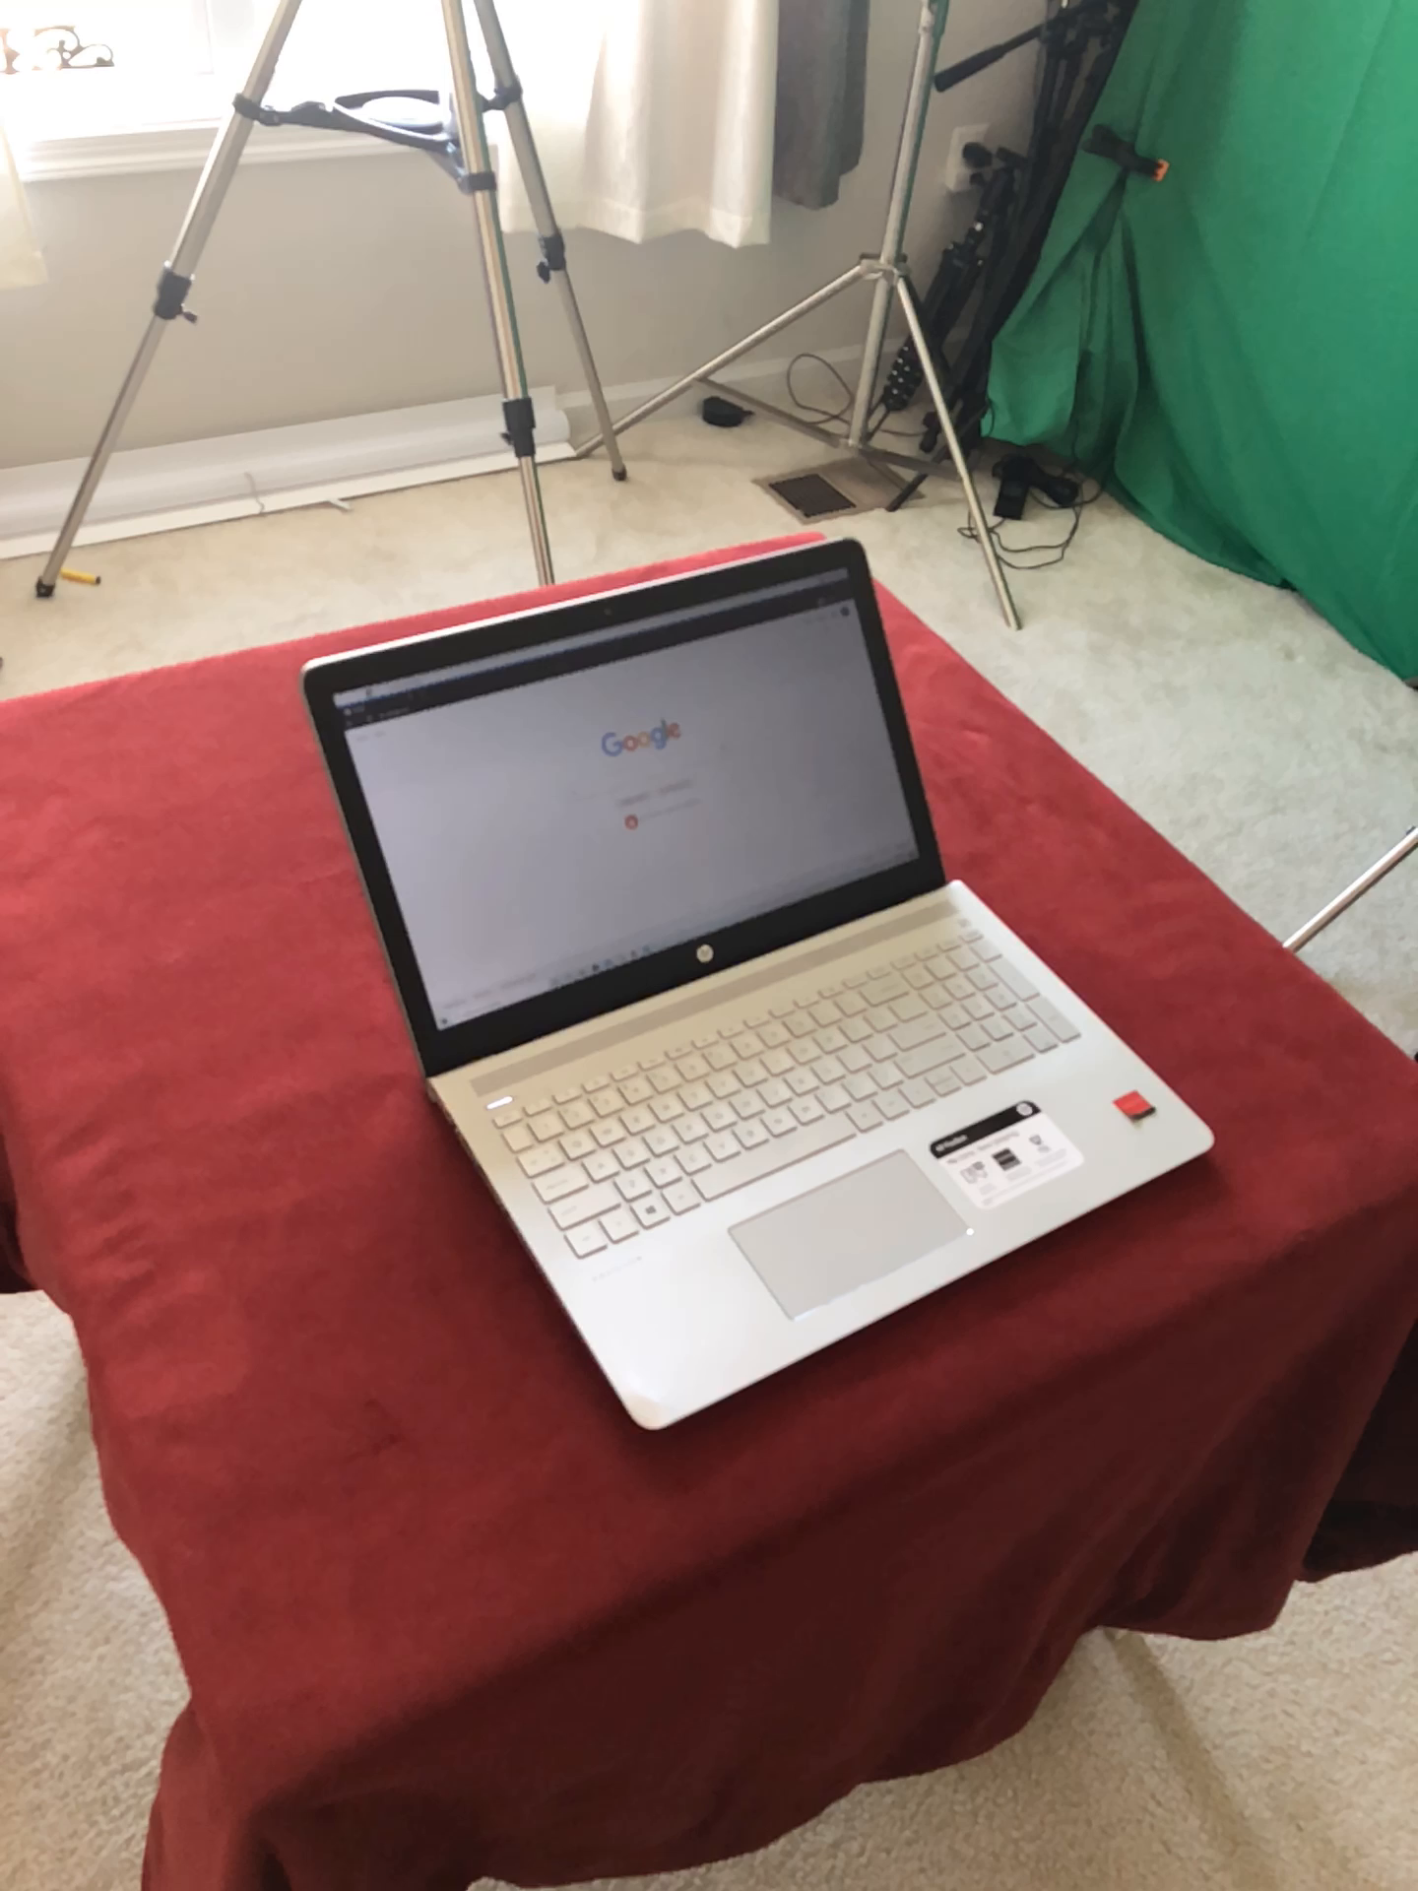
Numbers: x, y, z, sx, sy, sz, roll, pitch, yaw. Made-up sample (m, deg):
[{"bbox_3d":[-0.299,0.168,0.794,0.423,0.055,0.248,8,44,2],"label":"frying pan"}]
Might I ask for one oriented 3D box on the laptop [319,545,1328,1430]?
[{"bbox_3d":[0.038,-0.016,0.843,0.360,0.158,0.397,-19,51,-26],"label":"laptop"}]
